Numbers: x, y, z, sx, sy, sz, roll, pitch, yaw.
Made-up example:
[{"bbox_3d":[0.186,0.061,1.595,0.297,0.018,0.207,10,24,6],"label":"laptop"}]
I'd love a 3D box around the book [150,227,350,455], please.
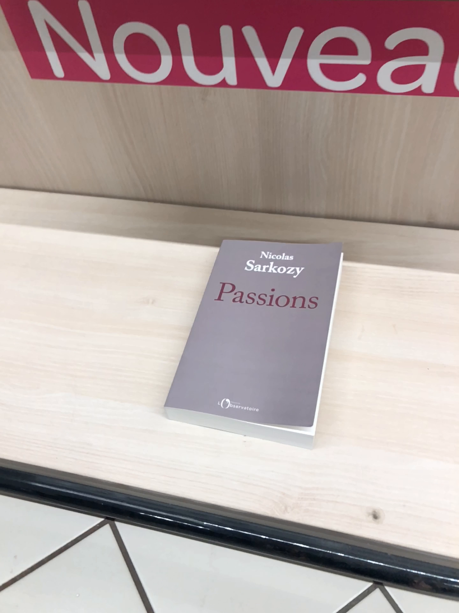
[{"bbox_3d":[0.032,0.021,0.518,0.156,0.044,0.225,8,55,12],"label":"book"}]
